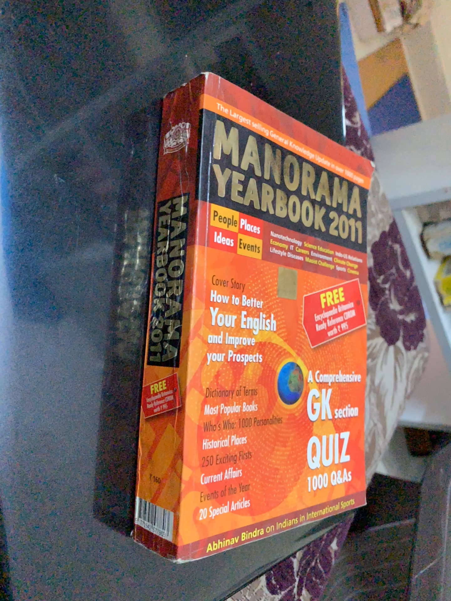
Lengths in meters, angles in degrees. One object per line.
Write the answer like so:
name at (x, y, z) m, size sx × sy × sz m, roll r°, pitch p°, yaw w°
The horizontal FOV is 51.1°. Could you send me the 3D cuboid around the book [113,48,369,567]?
book at (0.021, 0.005, 0.257) m, size 0.141 × 0.050 × 0.210 m, roll 10°, pitch 79°, yaw -45°
